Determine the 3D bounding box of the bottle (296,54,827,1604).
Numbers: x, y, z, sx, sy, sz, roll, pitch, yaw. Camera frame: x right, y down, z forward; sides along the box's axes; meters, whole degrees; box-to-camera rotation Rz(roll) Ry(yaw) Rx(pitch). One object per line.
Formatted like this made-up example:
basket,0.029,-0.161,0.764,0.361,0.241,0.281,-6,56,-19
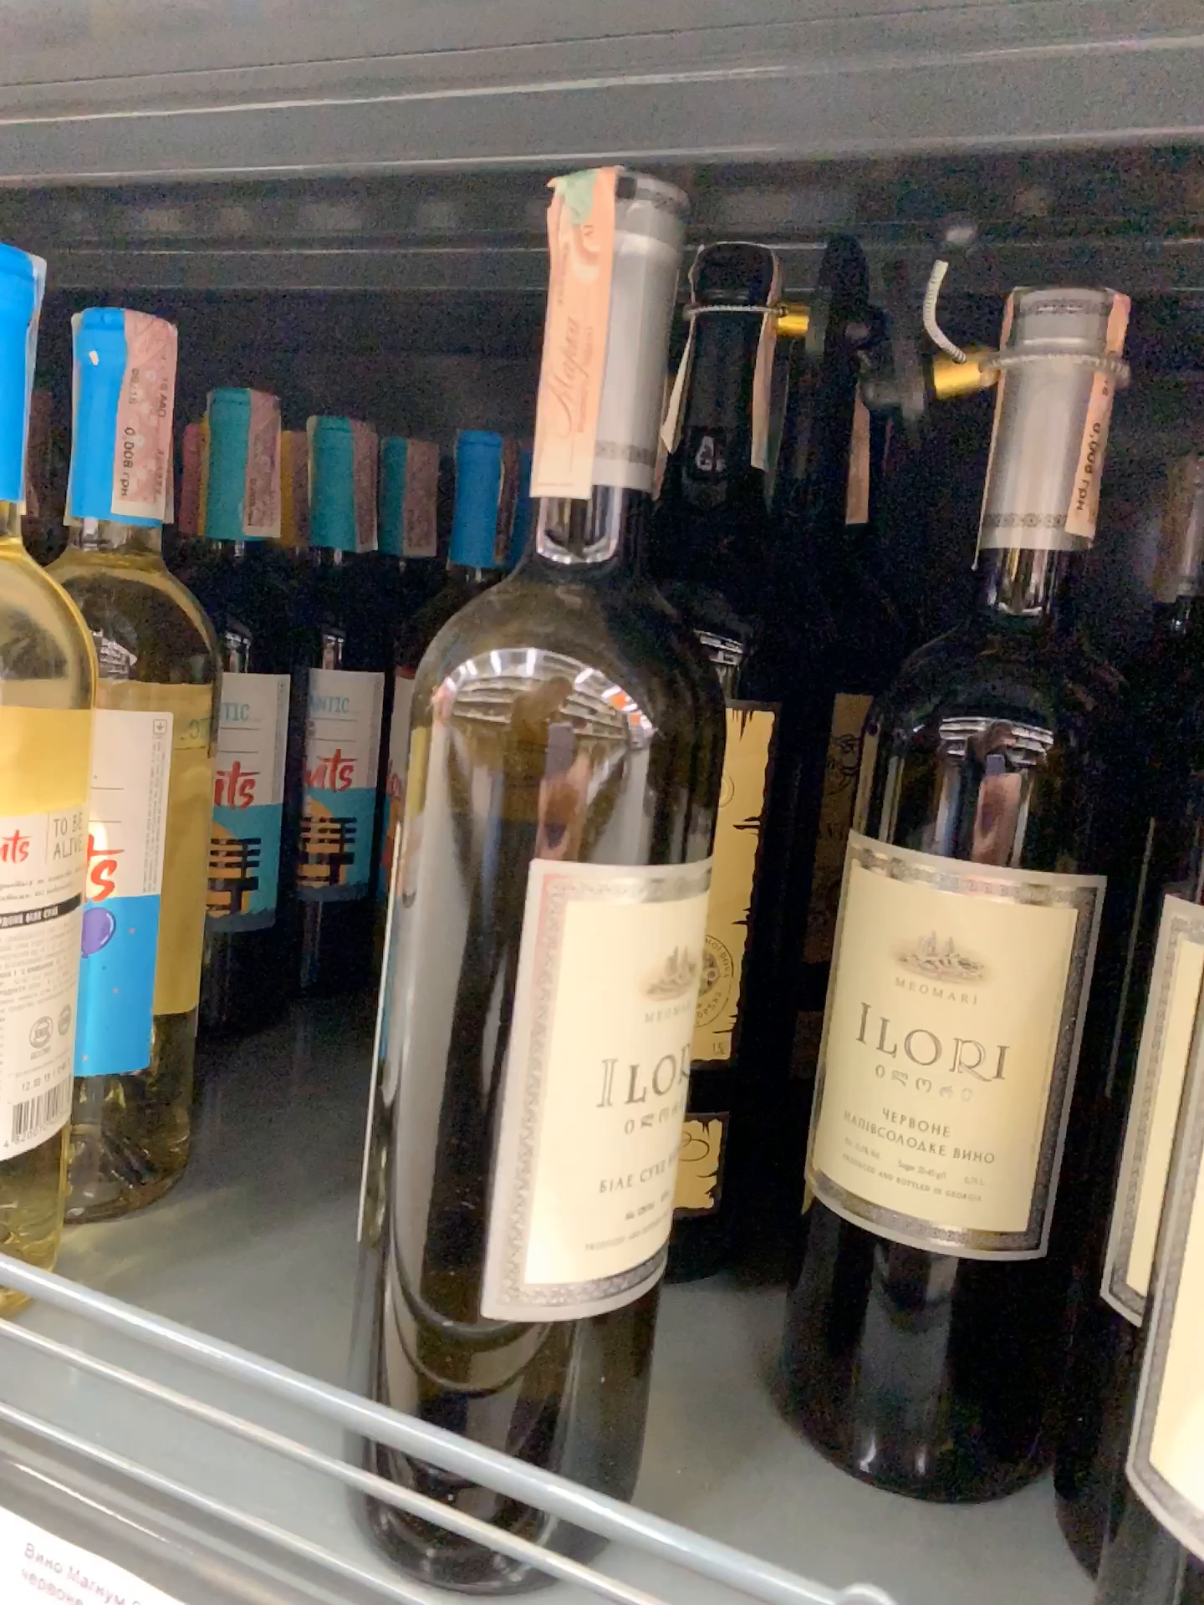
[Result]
bottle,-0.012,0.016,0.289,0.069,0.319,0.070,5,9,-1
